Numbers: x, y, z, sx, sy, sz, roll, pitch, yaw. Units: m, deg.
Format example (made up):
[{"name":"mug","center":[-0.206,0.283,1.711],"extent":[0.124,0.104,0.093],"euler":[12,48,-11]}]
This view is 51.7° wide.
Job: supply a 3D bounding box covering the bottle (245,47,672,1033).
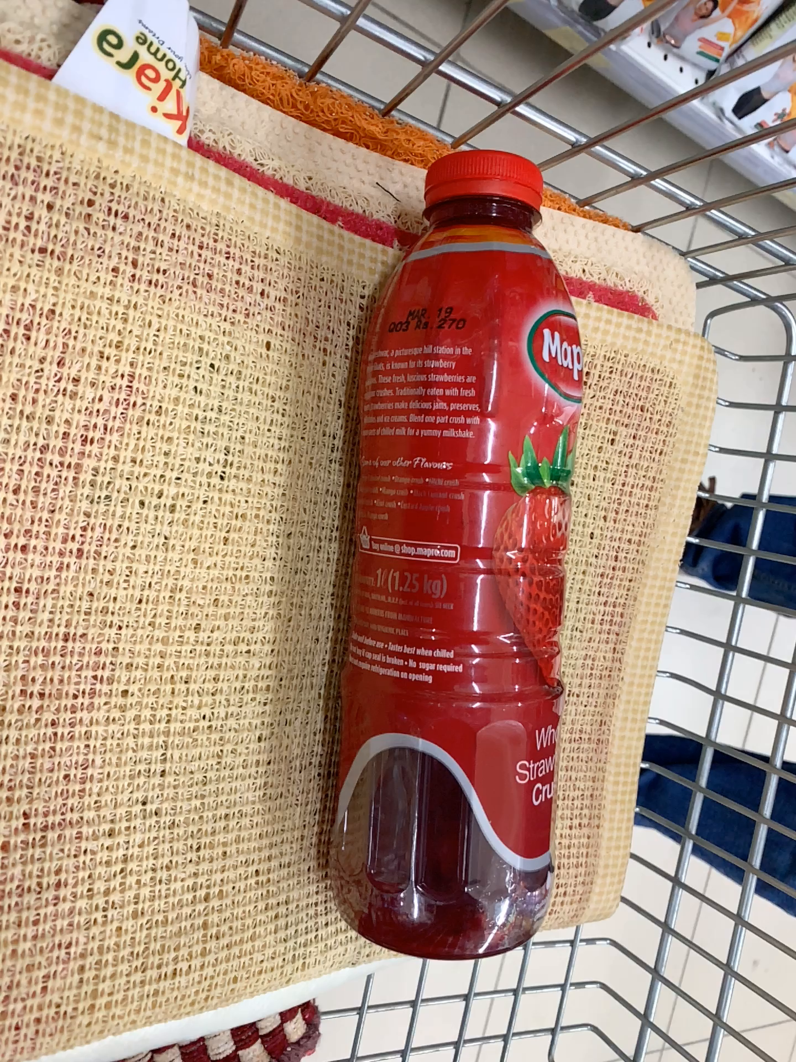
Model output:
[{"name":"bottle","center":[0.022,0.003,0.262],"extent":[0.090,0.070,0.250],"euler":[0,99,-58]}]
